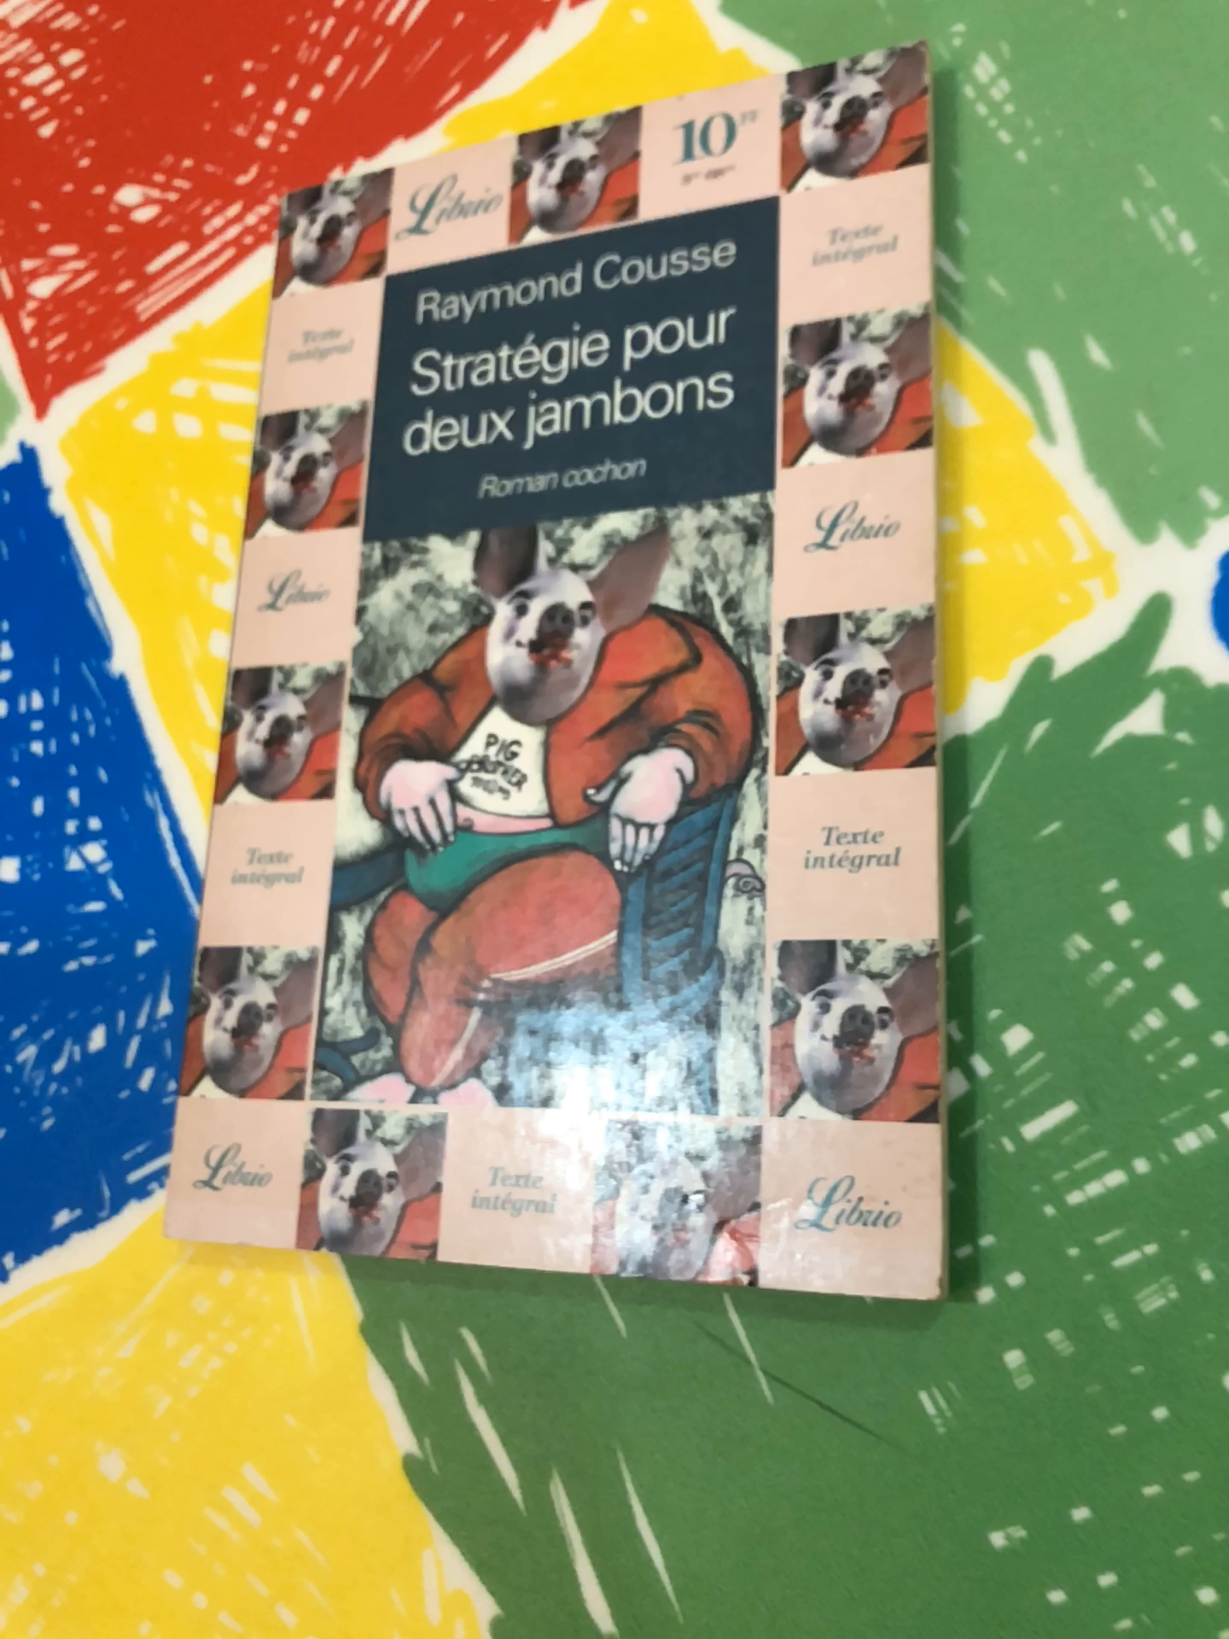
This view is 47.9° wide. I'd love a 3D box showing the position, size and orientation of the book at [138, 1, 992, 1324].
[{"bbox_3d":[-0.009,-0.029,0.225,0.130,0.014,0.197,-3,76,21],"label":"book"}]
